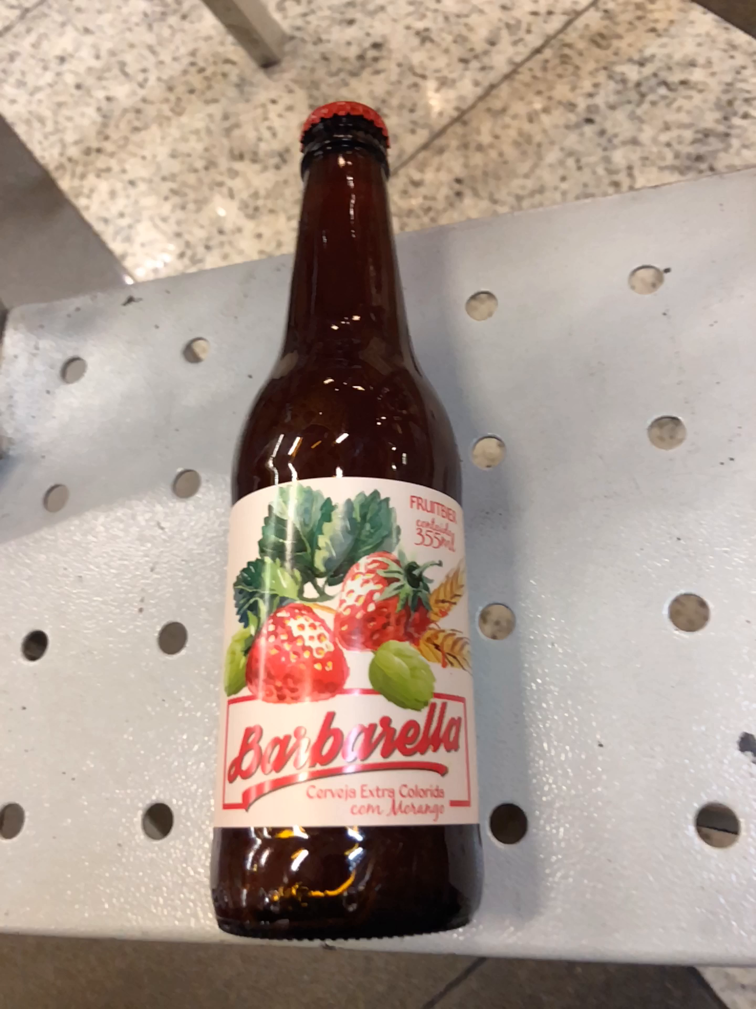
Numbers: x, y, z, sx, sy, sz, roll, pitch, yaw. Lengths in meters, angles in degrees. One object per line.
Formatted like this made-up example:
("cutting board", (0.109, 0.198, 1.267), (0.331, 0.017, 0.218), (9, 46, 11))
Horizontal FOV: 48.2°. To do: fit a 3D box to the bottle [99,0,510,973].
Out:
("bottle", (-0.016, -0.018, 0.223), (0.070, 0.060, 0.241), (-8, 68, 14))
